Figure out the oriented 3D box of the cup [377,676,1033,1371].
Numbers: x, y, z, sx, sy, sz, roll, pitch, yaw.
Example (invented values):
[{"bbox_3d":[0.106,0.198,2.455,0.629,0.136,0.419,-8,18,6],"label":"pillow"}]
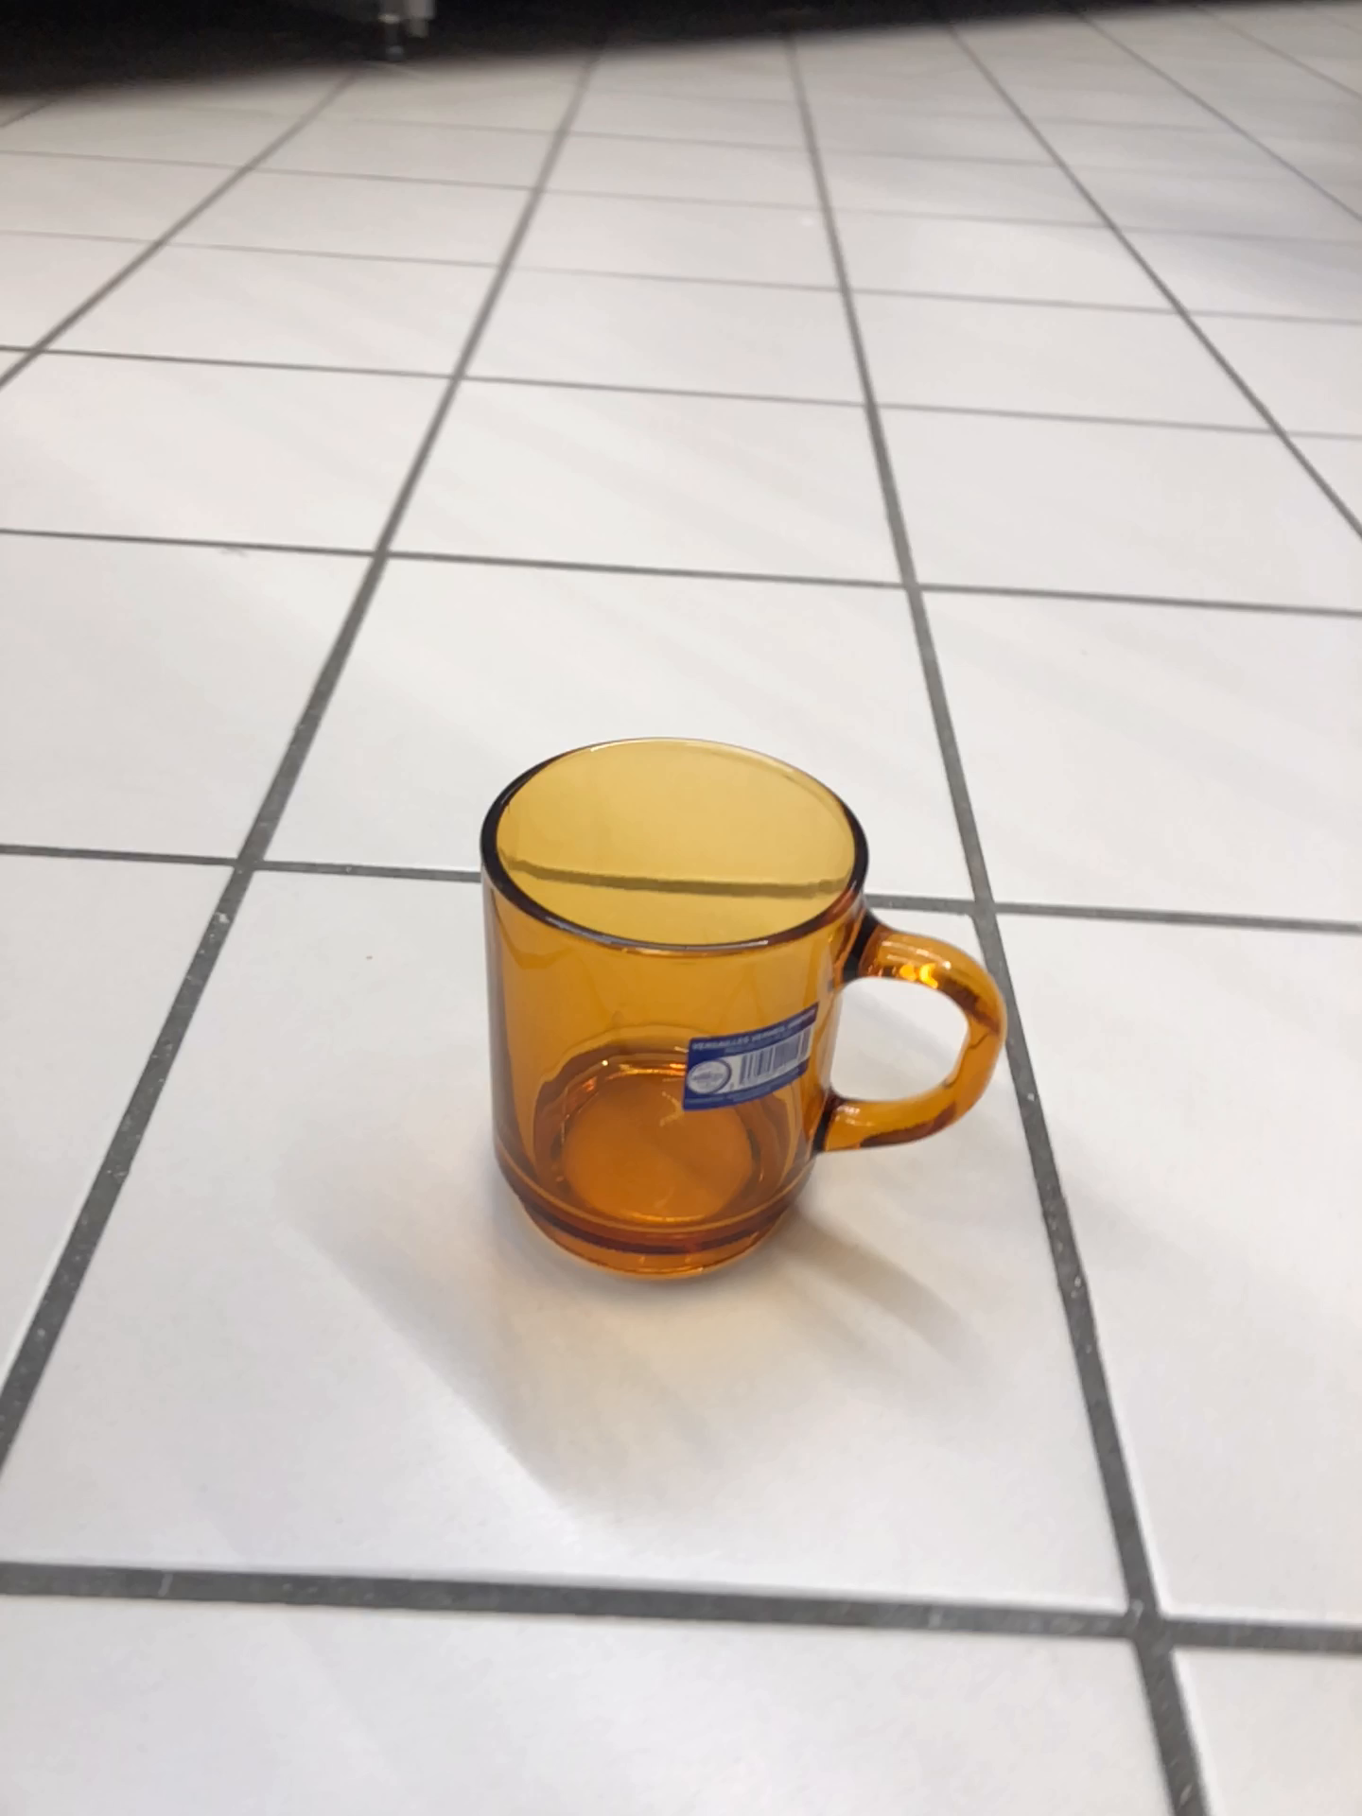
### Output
[{"bbox_3d":[0.006,0.019,0.289,0.096,0.082,0.075,15,38,15],"label":"cup"}]
